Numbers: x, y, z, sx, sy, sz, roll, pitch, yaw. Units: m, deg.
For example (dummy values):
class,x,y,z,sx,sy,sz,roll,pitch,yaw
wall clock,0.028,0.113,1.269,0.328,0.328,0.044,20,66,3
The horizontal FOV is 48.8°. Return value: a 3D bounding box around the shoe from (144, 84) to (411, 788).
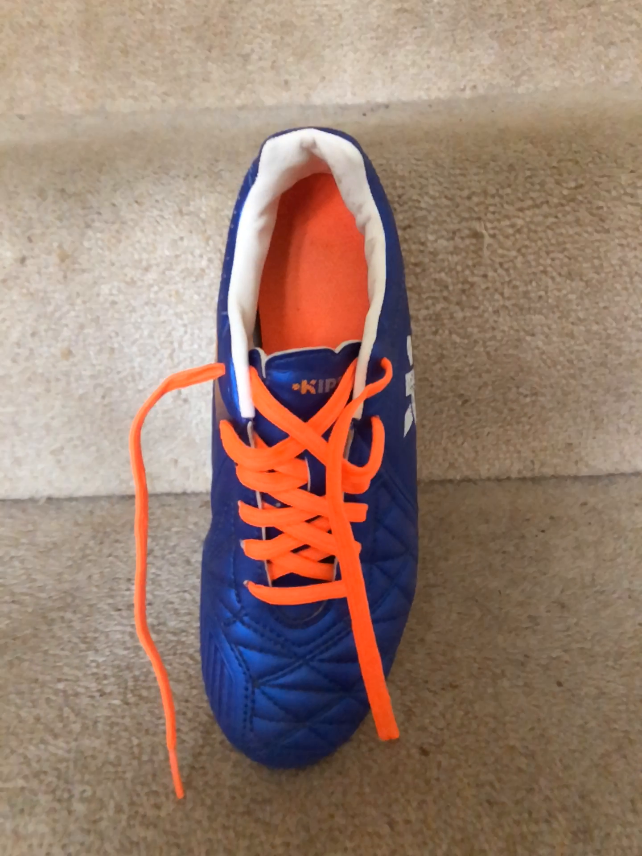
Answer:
class,x,y,z,sx,sy,sz,roll,pitch,yaw
shoe,-0.010,0.001,0.262,0.070,0.210,0.100,2,-8,1
